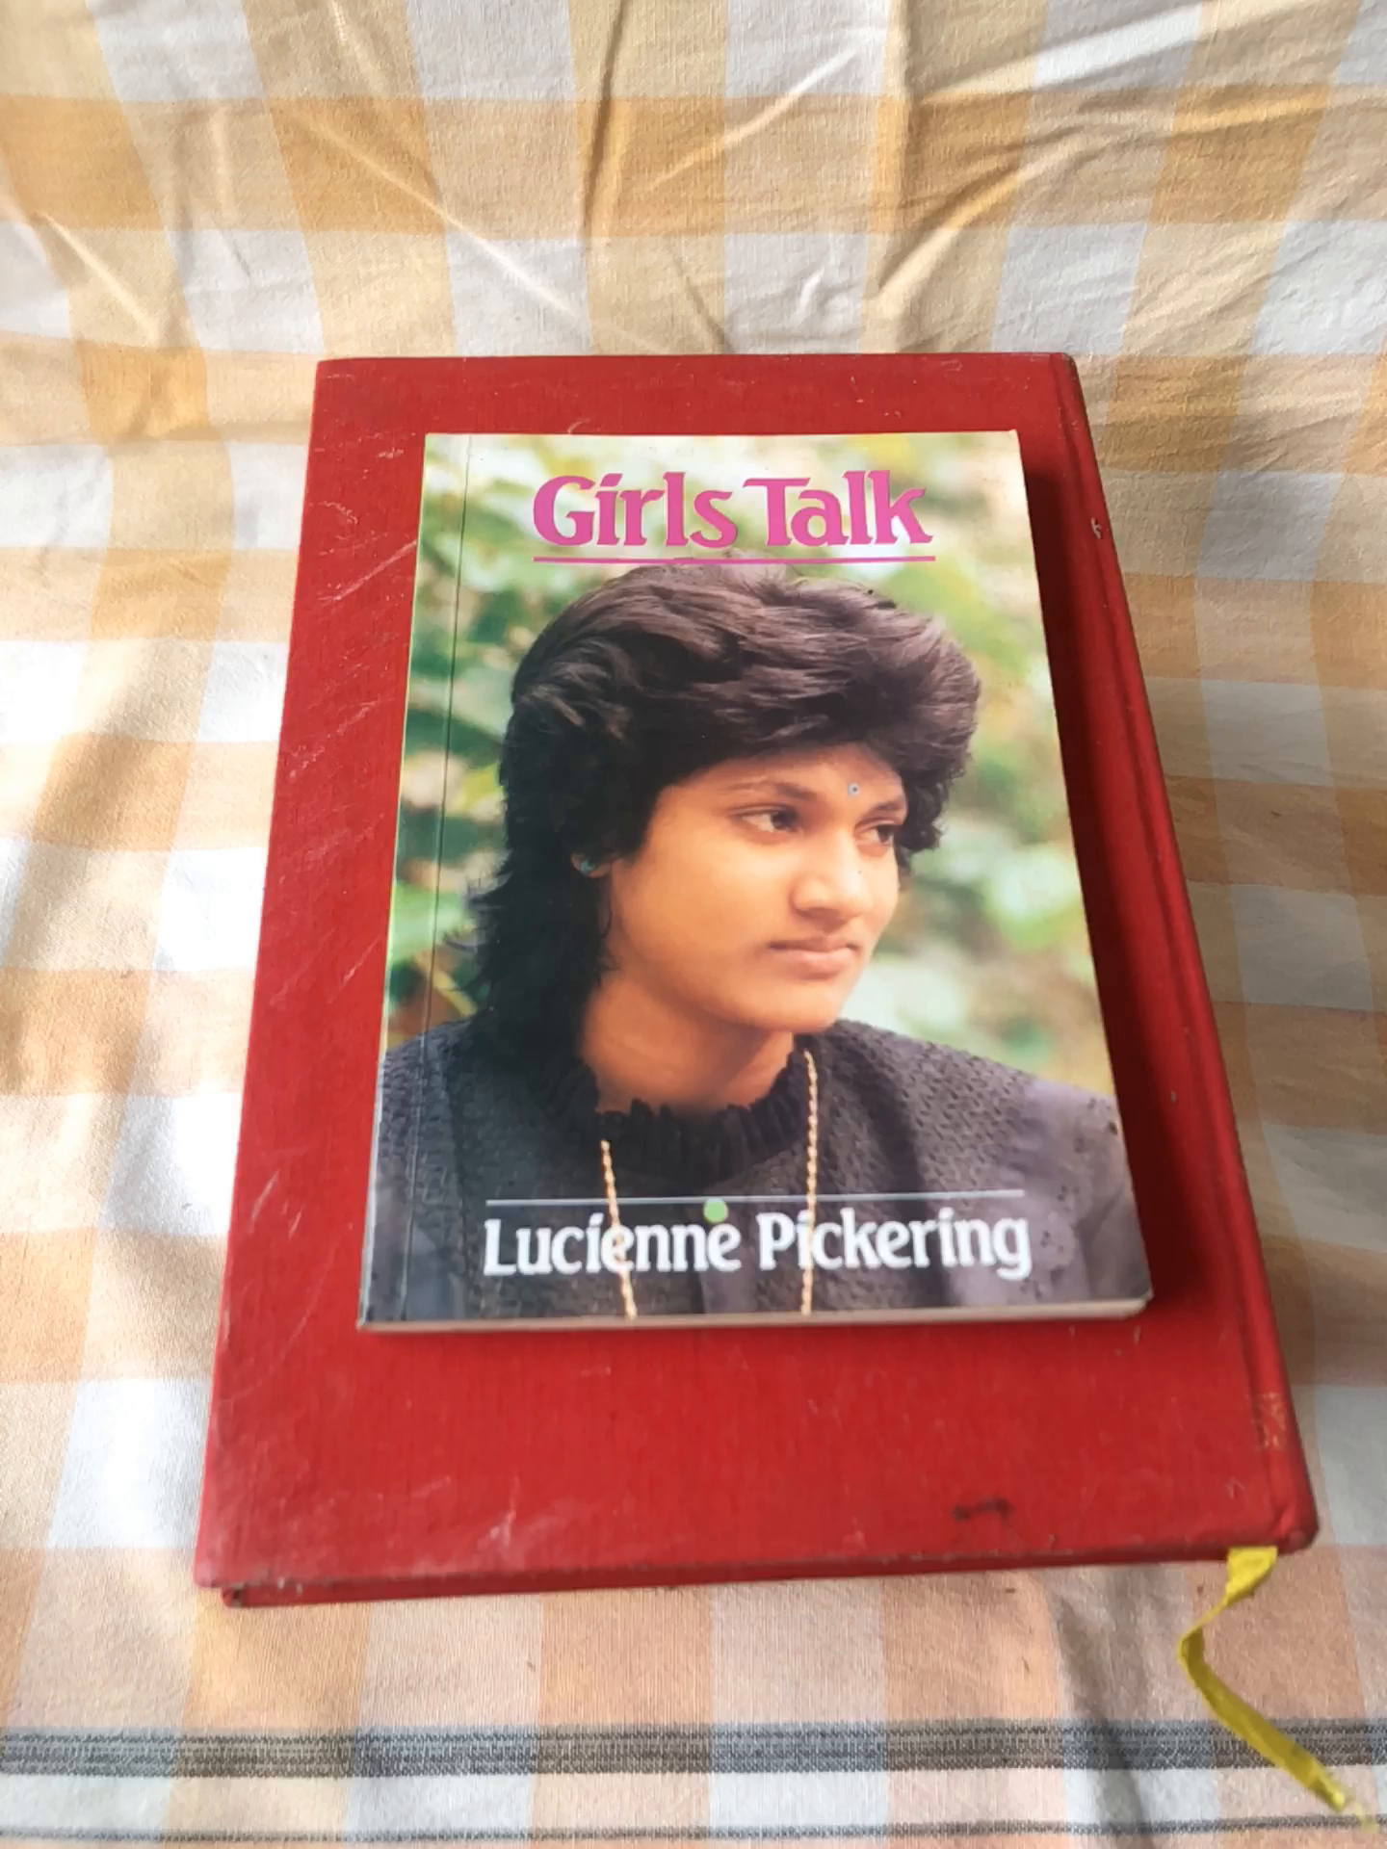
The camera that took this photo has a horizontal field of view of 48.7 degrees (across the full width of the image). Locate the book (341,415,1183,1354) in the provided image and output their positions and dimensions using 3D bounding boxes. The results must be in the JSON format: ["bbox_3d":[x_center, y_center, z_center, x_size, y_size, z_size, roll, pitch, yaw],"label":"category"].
[{"bbox_3d":[0.008,-0.017,0.287,0.130,0.025,0.182,-1,64,-2],"label":"book"}]

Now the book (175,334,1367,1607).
[{"bbox_3d":[0.007,-0.010,0.294,0.174,0.031,0.249,-2,63,-2],"label":"book"}]
